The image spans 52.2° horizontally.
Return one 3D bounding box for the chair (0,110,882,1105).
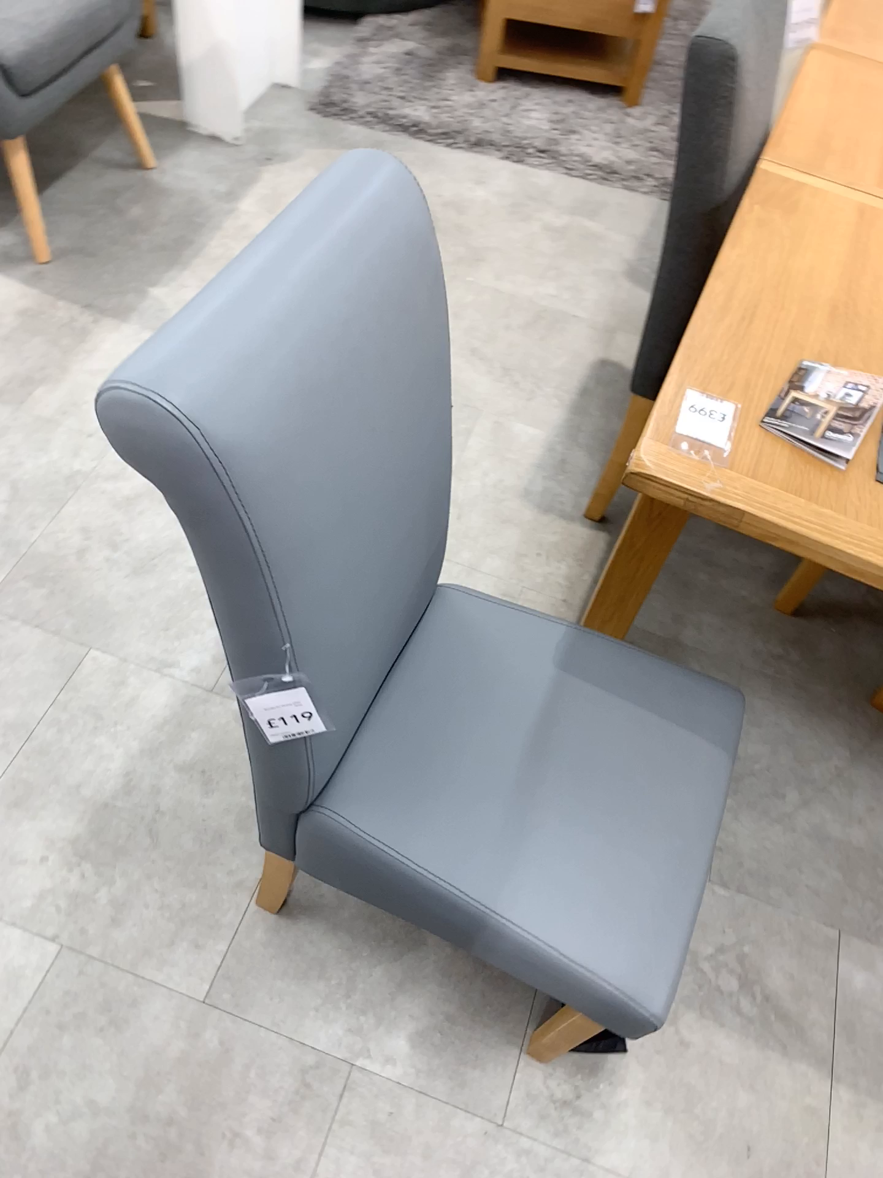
[{"bbox_3d":[0.053,0.119,1.011,0.654,0.908,0.476,23,54,8],"label":"chair"}]
